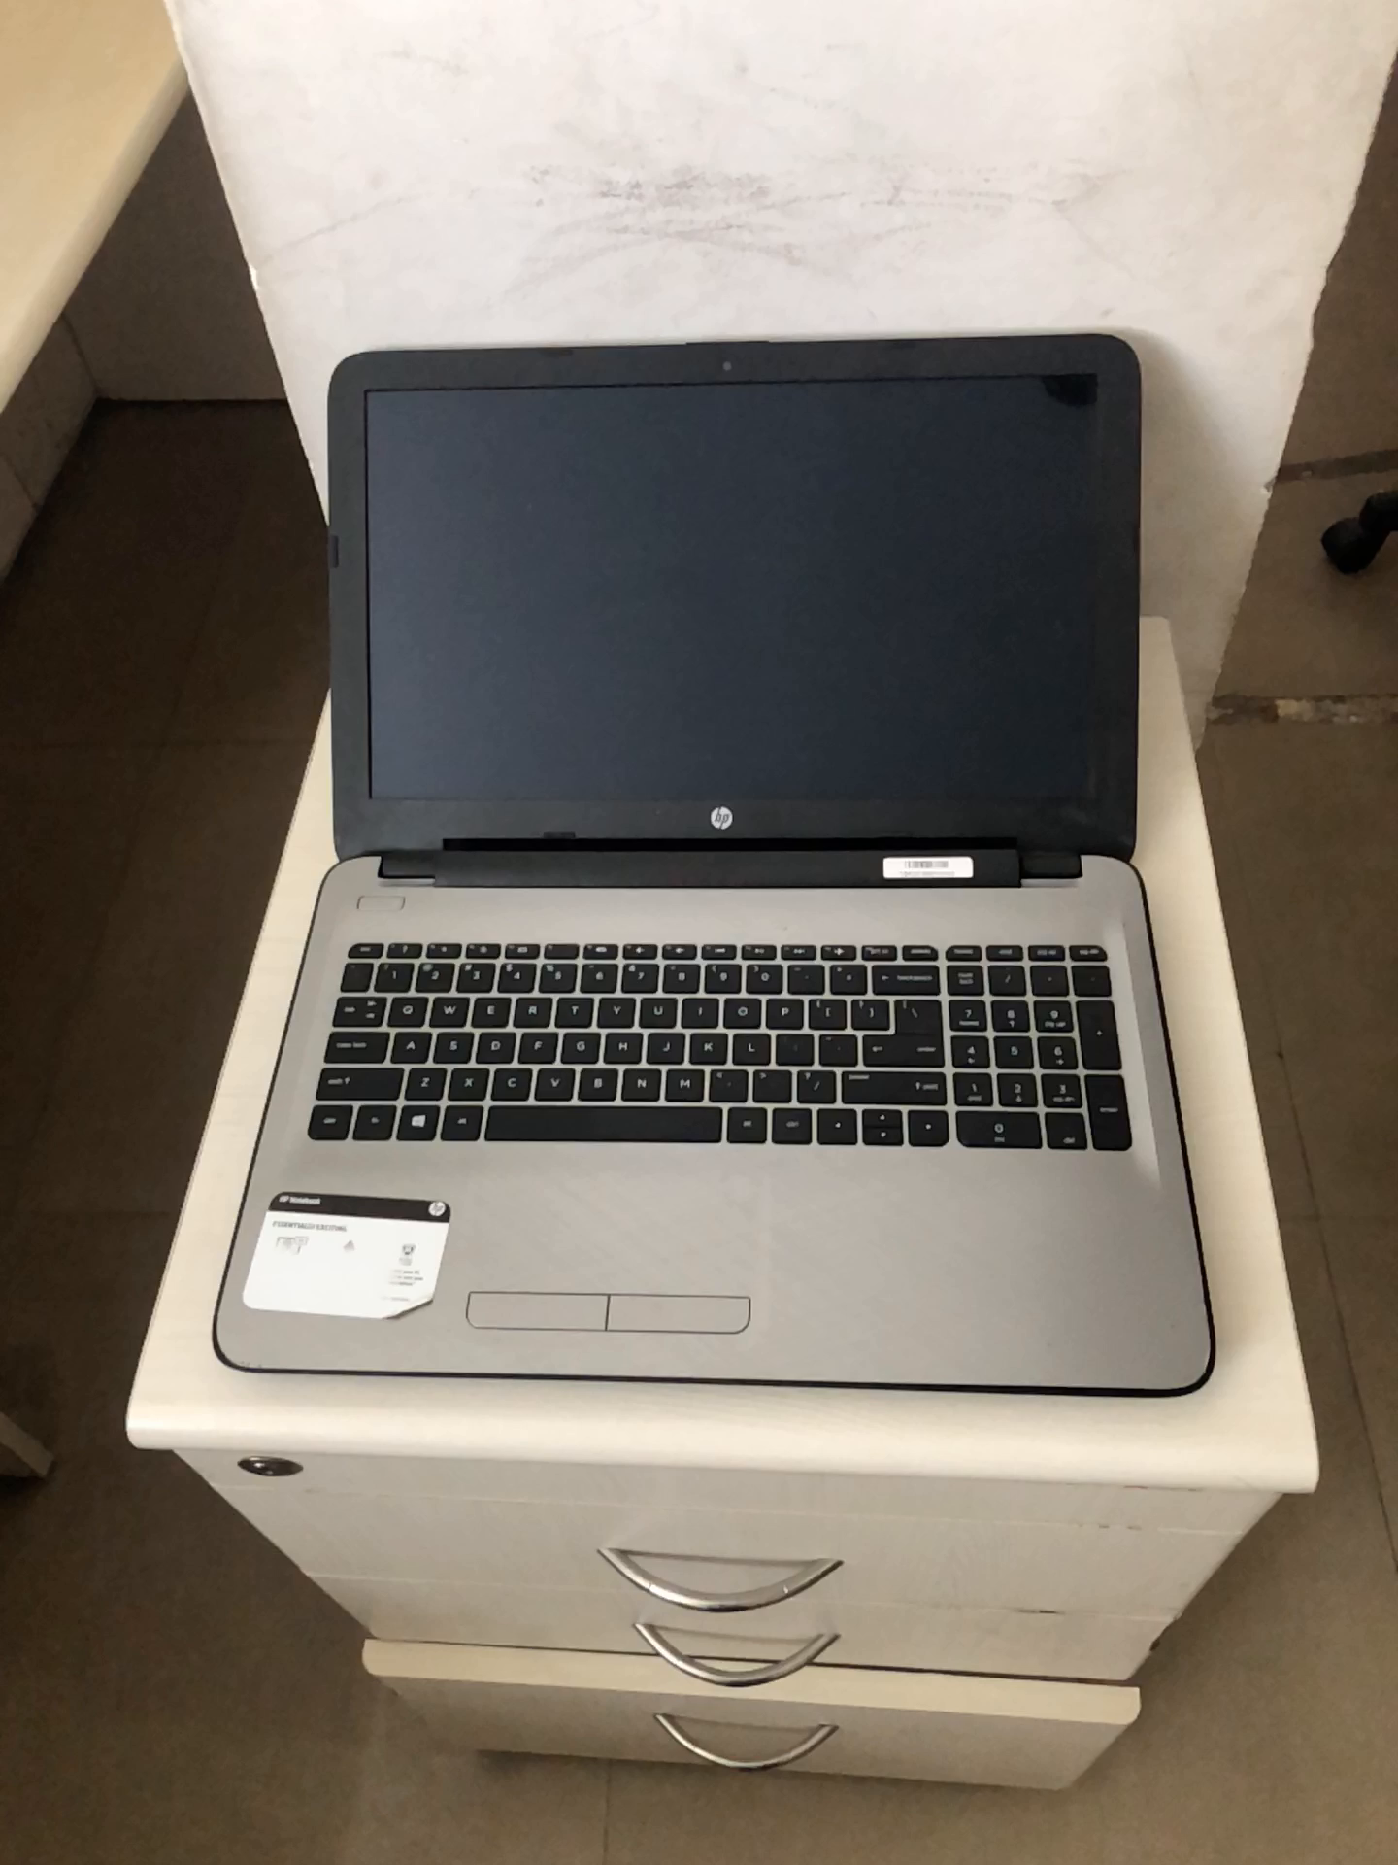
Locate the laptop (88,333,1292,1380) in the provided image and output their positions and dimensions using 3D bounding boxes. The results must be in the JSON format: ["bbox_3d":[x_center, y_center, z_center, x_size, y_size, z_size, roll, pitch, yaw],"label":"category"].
[{"bbox_3d":[0.007,-0.055,0.636,0.361,0.136,0.427,0,55,5],"label":"laptop"}]
